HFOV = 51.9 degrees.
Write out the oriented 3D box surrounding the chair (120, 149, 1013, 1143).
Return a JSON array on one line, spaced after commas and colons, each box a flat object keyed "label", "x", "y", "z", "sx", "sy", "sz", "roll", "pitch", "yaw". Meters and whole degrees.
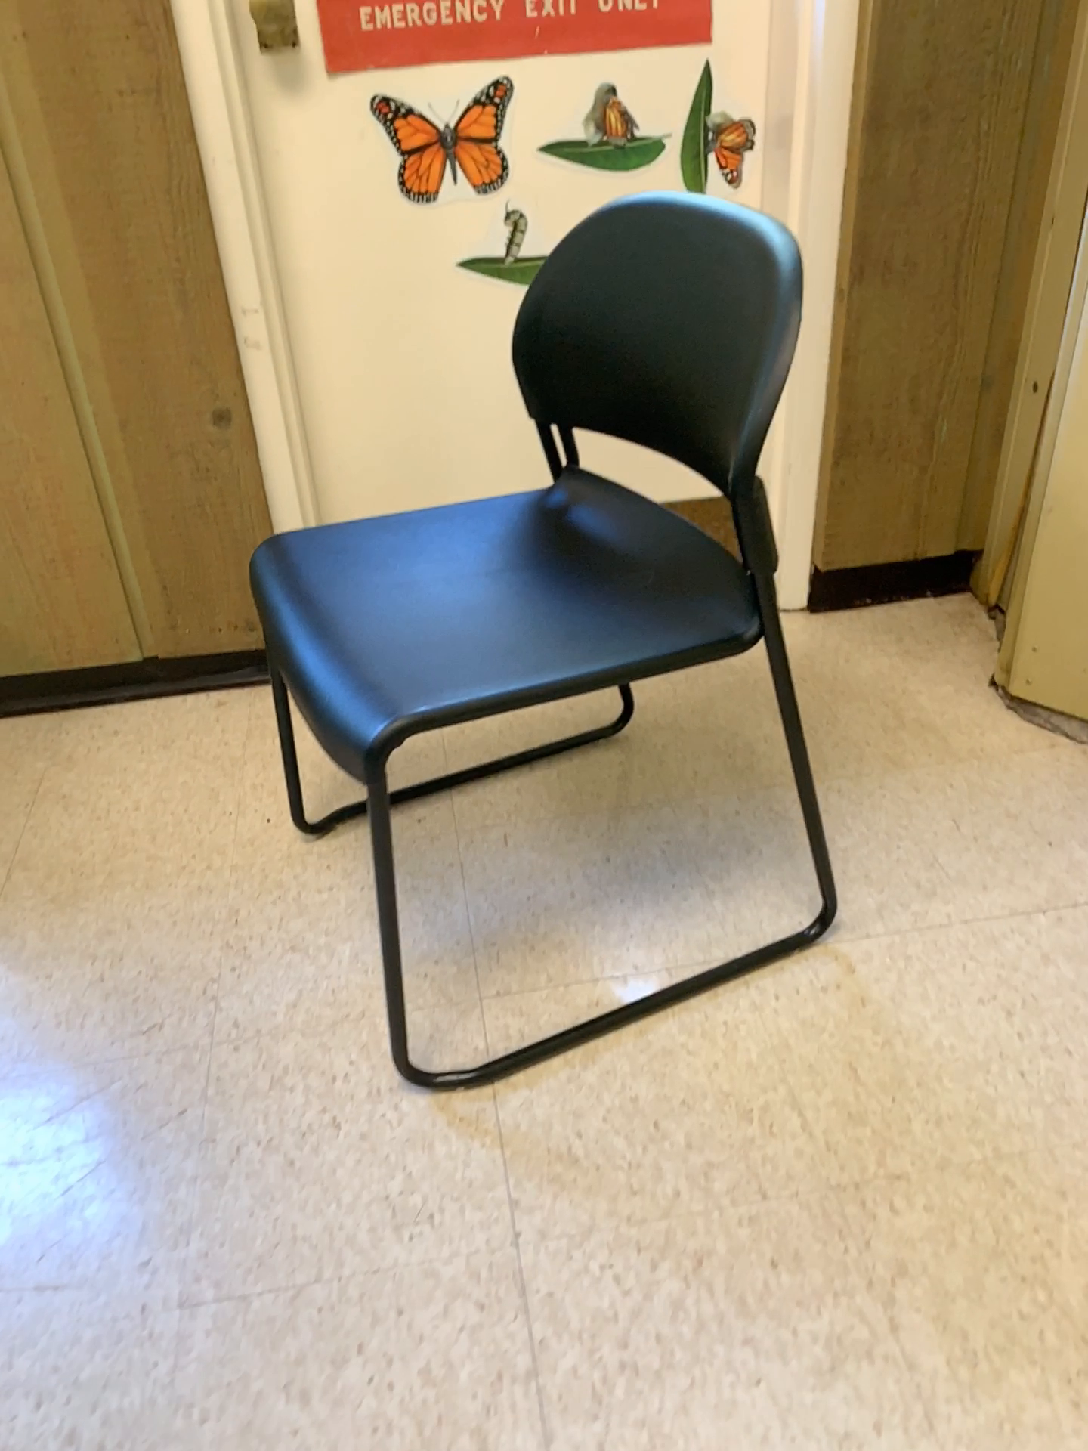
[{"label": "chair", "x": -0.006, "y": -0.139, "z": 1.237, "sx": 0.620, "sy": 0.795, "sz": 0.583, "roll": -17, "pitch": 35, "yaw": -20}]
